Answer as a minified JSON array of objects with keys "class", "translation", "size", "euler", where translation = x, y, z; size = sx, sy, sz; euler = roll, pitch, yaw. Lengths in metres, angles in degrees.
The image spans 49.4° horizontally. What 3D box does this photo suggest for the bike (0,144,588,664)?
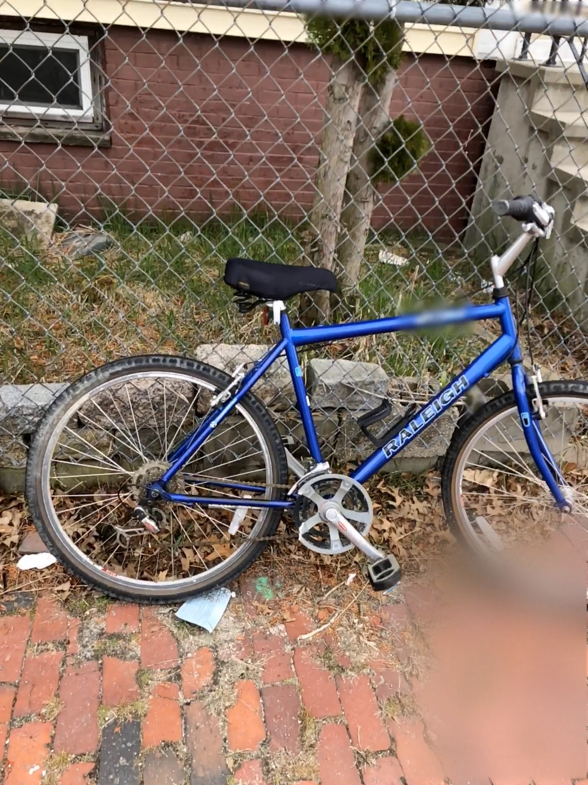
[{"class":"bike","translation":[0.200,-0.012,1.599],"size":[1.663,1.024,0.683],"euler":[2,27,1]}]
